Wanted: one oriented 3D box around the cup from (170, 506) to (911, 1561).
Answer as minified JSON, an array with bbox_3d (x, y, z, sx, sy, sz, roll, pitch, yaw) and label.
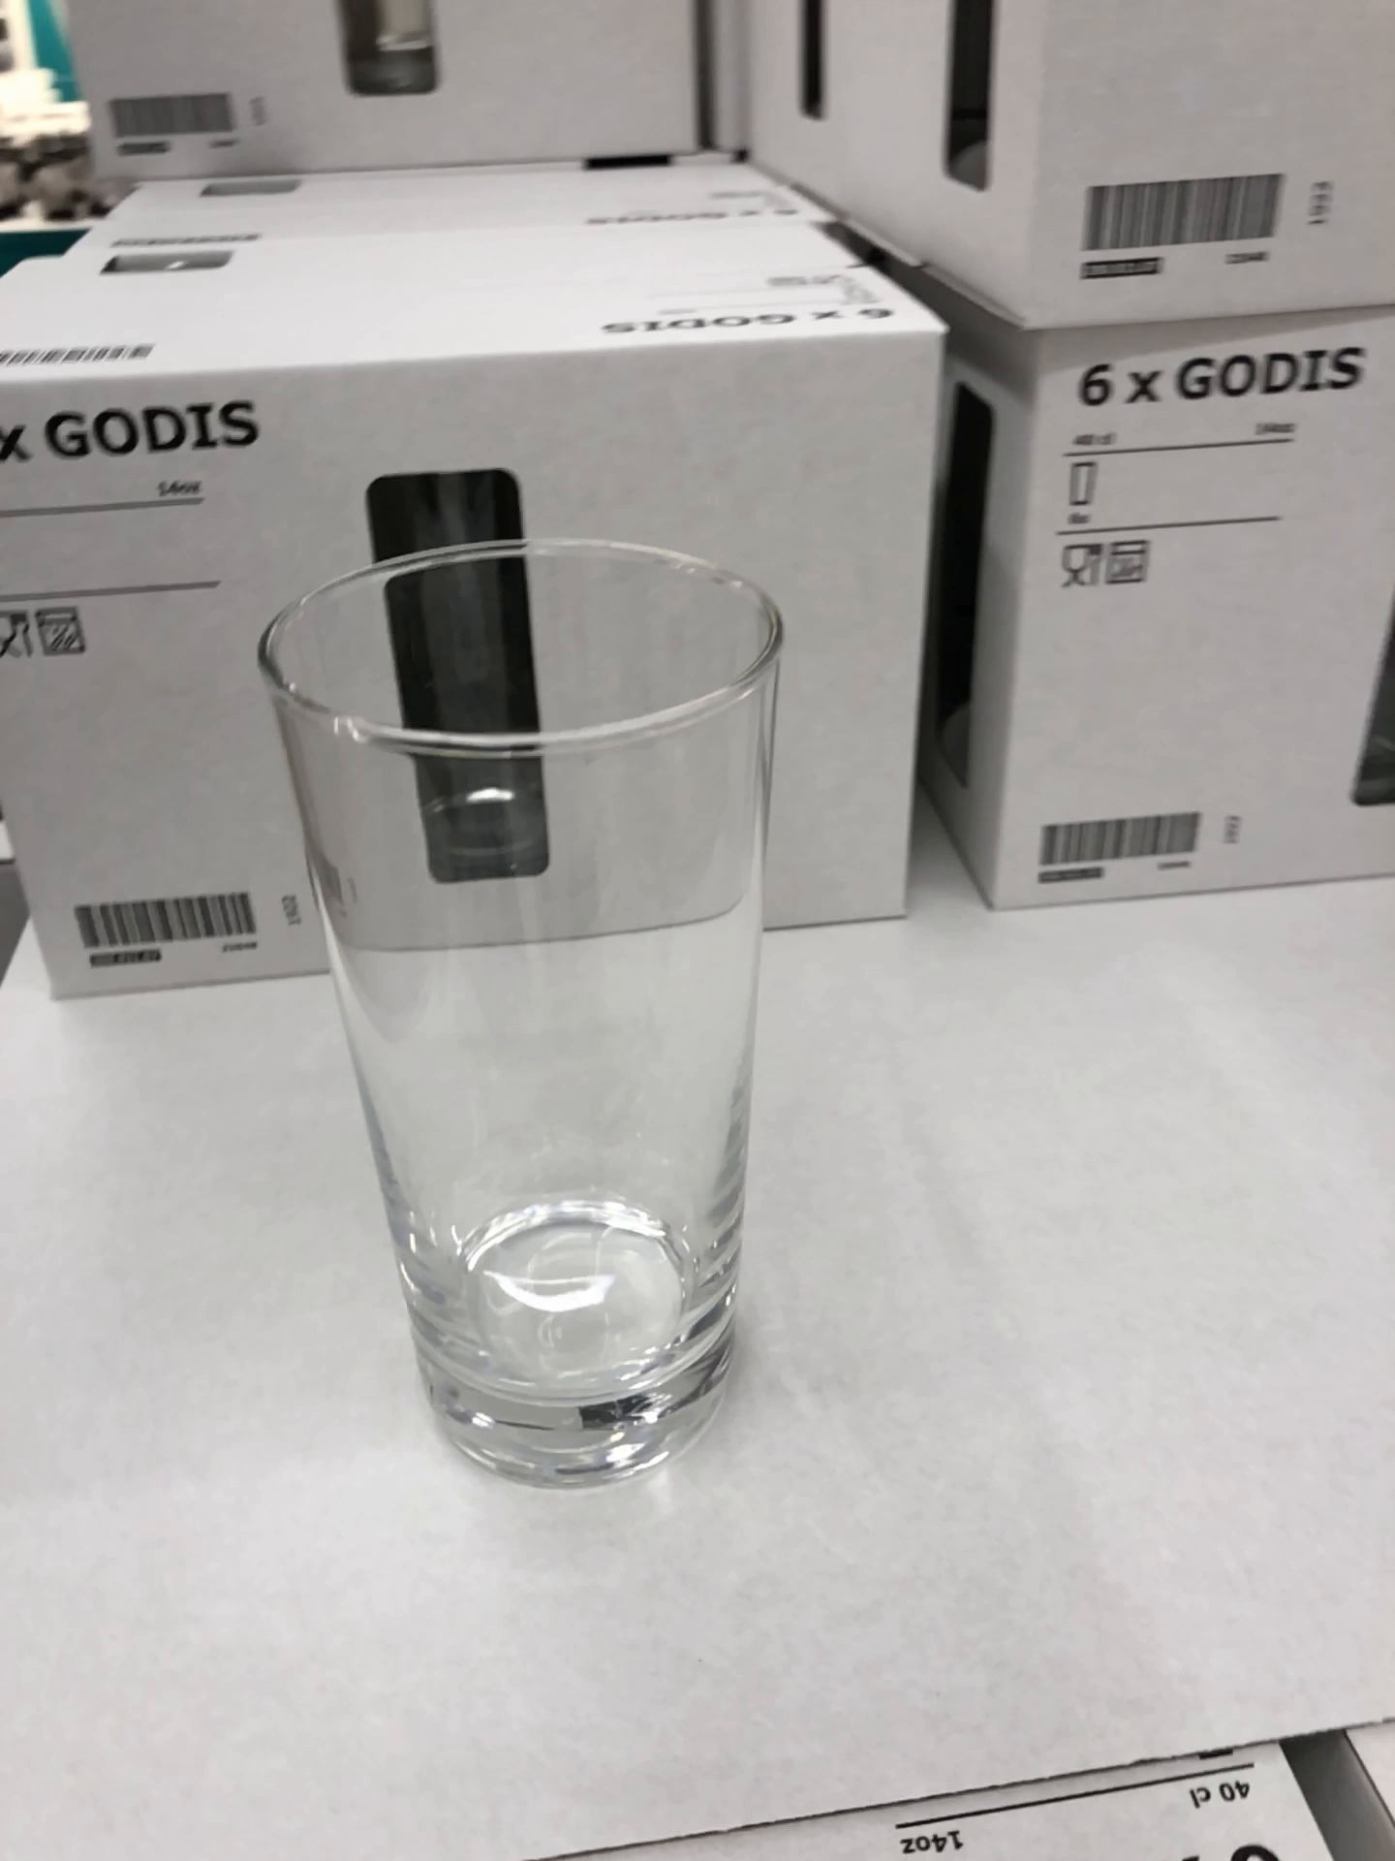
[{"bbox_3d":[-0.024,0.014,0.265,0.080,0.139,0.080,-1,32,0],"label":"cup"}]
